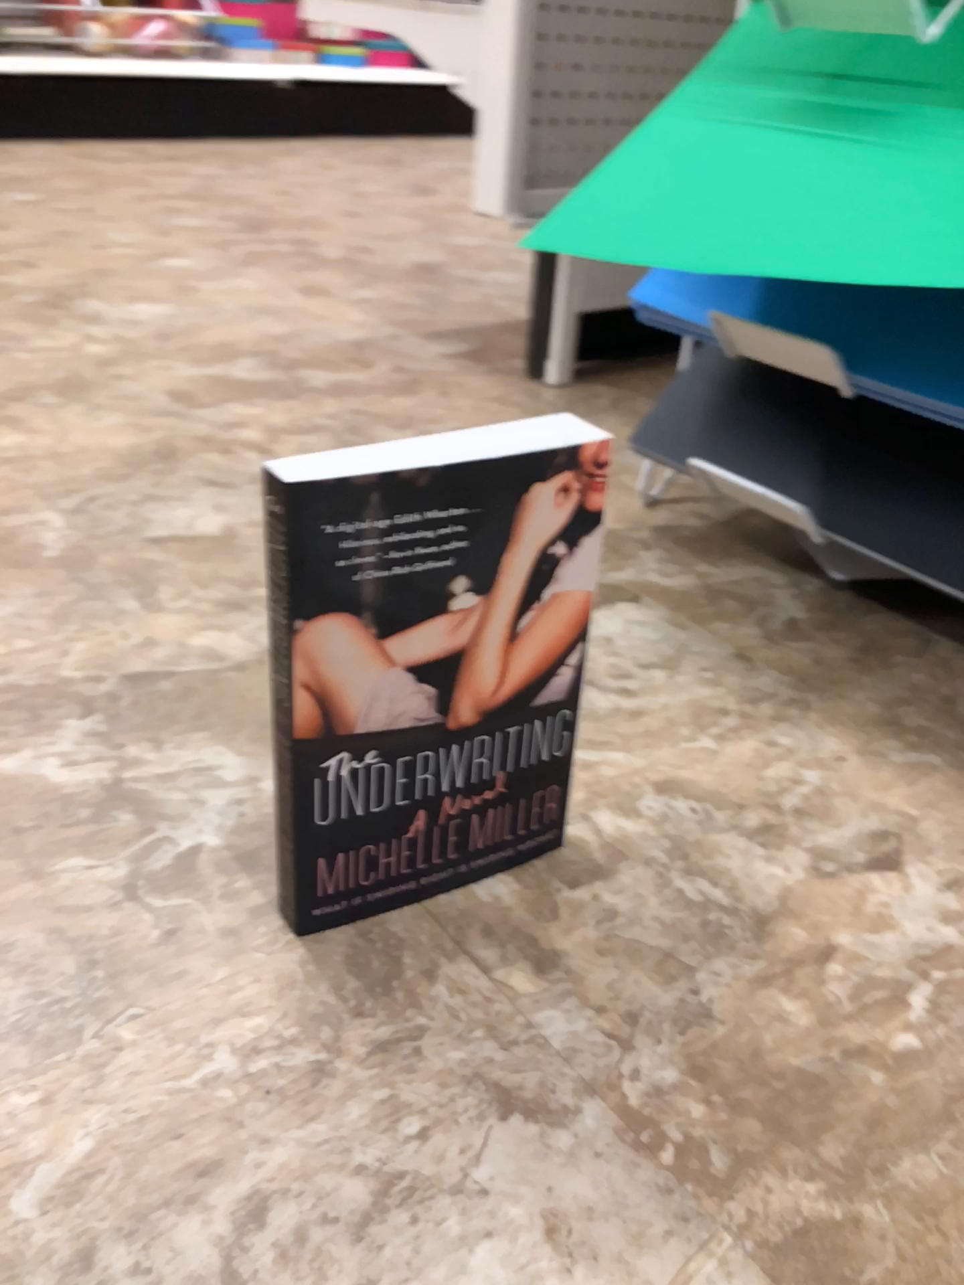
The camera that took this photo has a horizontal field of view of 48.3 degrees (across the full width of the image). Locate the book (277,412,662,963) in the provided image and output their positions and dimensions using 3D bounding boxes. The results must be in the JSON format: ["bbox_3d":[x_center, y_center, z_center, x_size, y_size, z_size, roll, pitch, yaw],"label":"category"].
[{"bbox_3d":[-0.007,0.019,0.433,0.140,0.203,0.035,-14,34,-29],"label":"book"}]
